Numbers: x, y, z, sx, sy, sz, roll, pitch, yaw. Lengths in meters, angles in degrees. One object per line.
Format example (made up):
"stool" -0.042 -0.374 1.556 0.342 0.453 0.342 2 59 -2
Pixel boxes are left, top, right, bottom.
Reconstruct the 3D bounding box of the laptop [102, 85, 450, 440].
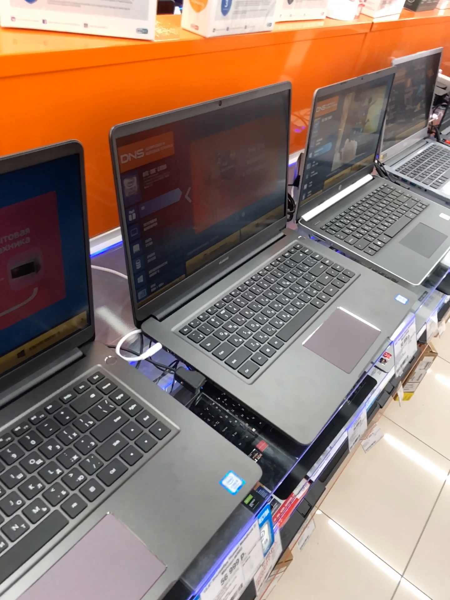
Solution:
"laptop" 0.085 -0.082 0.597 0.287 0.212 0.340 32 42 21

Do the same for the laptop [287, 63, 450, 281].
"laptop" 0.303 -0.232 0.834 0.243 0.195 0.270 36 47 24

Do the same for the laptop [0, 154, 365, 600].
"laptop" -0.145 0.091 0.314 0.241 0.230 0.357 31 42 21
